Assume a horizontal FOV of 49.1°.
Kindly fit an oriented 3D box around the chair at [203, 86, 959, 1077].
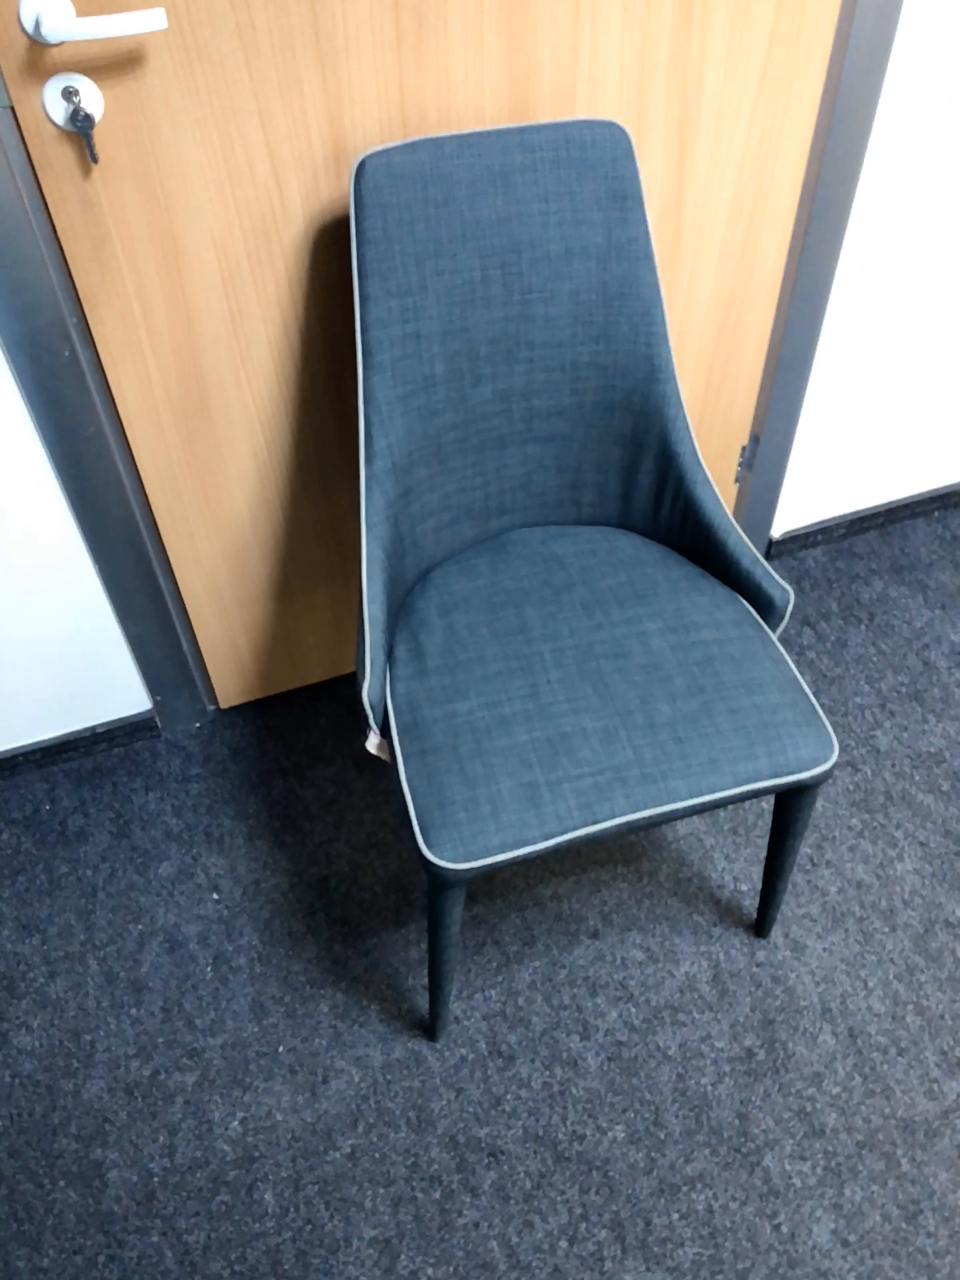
[{"bbox_3d":[0.074,-0.036,1.215,0.520,0.845,0.643,-14,50,-10],"label":"chair"}]
